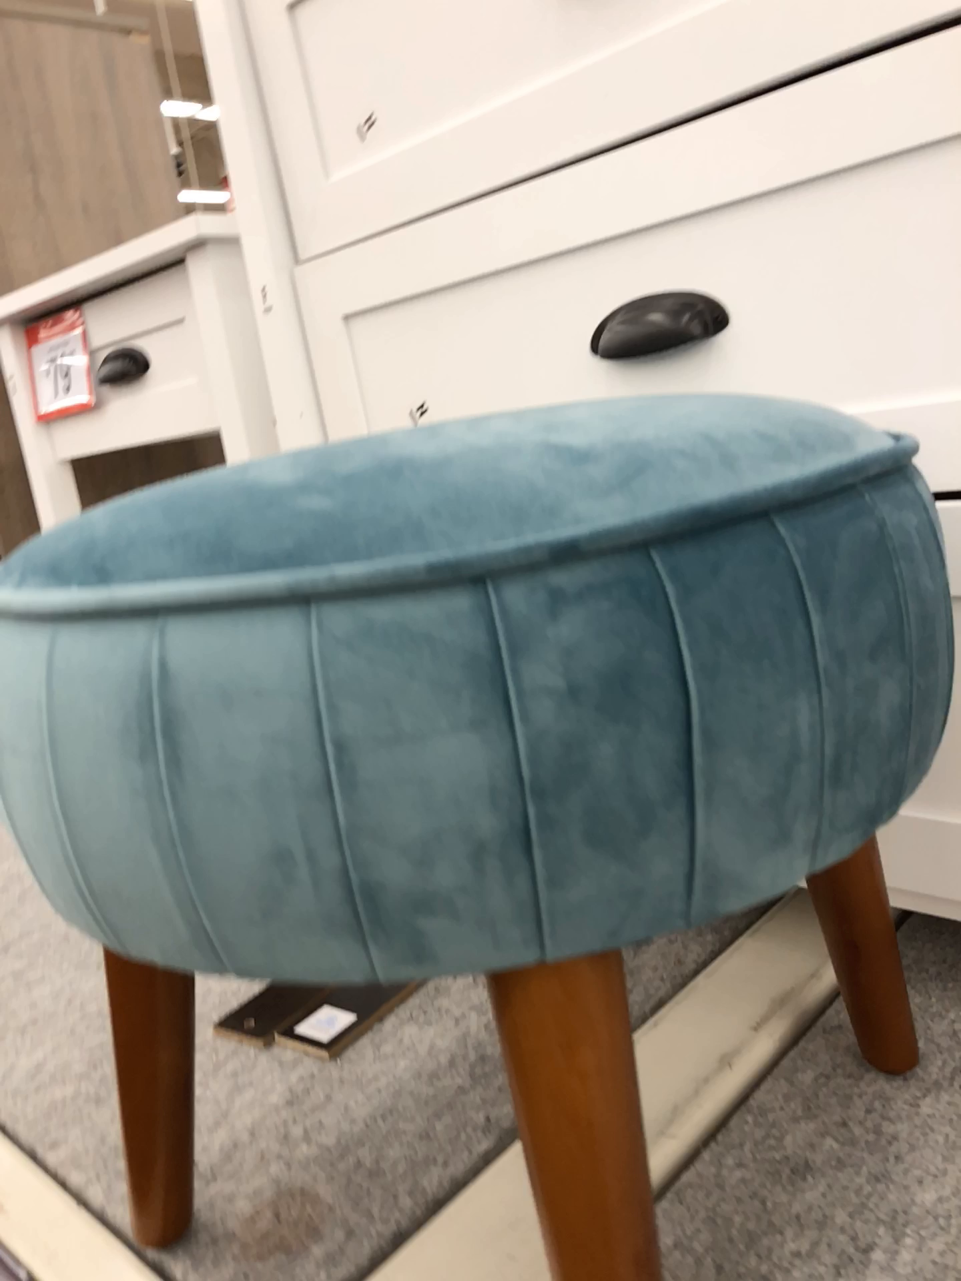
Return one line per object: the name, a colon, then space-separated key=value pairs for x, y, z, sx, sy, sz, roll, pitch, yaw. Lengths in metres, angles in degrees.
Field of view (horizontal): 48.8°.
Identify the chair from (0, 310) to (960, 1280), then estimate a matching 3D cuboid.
chair: x=0.021 y=0.084 z=0.521 sx=0.371 sy=0.399 sz=0.370 roll=3 pitch=16 yaw=45
